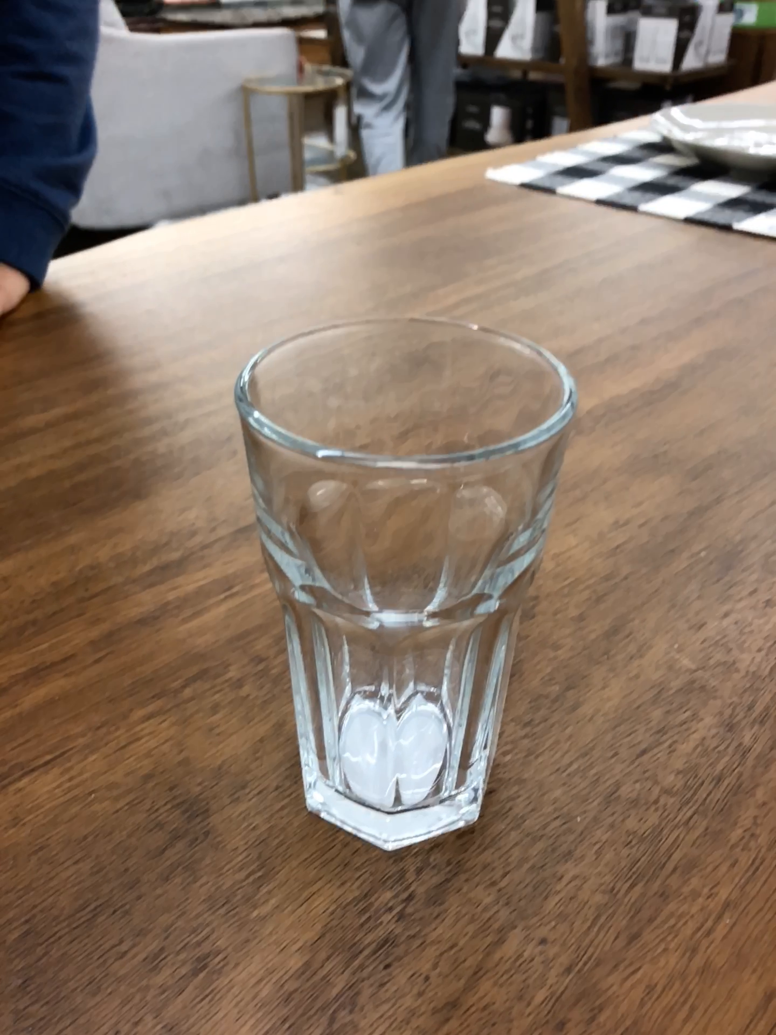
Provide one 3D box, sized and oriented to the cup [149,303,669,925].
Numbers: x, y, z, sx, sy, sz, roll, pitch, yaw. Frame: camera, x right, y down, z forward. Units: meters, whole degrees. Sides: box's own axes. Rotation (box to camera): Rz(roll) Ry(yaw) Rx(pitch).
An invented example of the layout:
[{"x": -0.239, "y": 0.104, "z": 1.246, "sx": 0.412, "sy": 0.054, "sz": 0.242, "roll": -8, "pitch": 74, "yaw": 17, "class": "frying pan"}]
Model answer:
[{"x": 0.002, "y": 0.016, "z": 0.192, "sx": 0.072, "sy": 0.095, "sz": 0.070, "roll": 0, "pitch": 34, "yaw": 0, "class": "cup"}]
